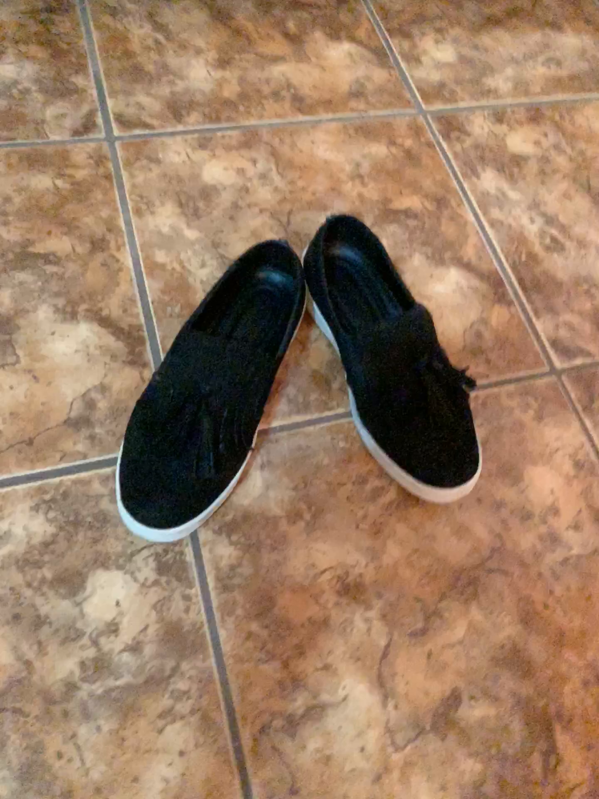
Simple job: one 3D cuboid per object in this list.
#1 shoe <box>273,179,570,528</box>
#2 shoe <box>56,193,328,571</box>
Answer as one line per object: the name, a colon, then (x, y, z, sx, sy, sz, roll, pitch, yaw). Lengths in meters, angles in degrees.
shoe: (0.080, -0.043, 0.487, 0.097, 0.094, 0.250, -20, 67, -18)
shoe: (-0.065, -0.020, 0.453, 0.097, 0.094, 0.250, 18, 61, 1)
